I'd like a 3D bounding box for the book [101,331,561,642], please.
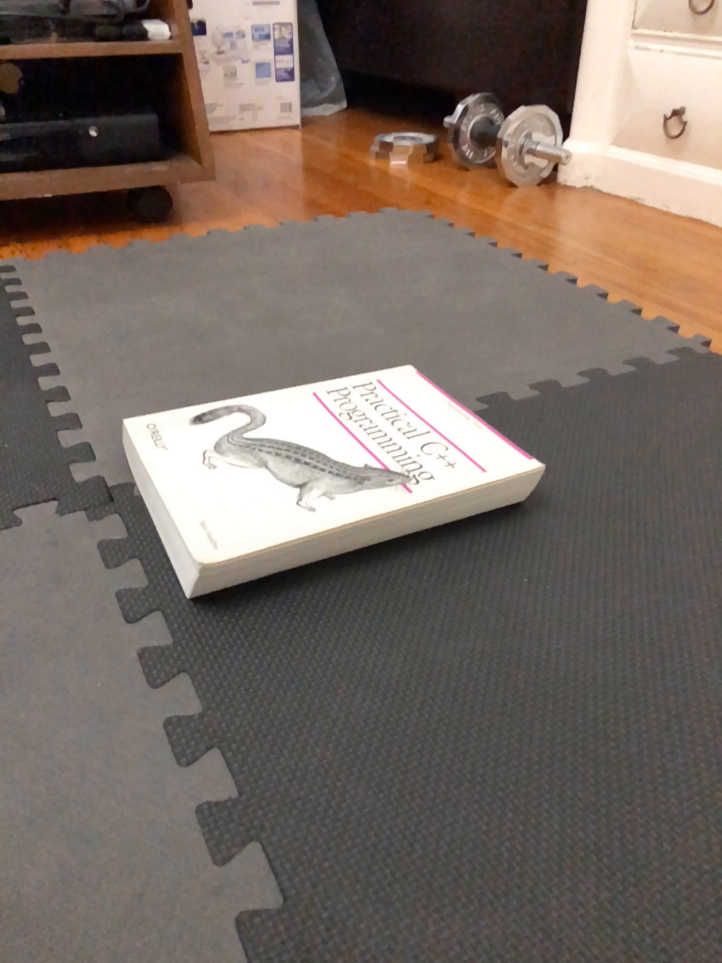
[{"bbox_3d":[-0.028,-0.016,0.550,0.250,0.050,0.201,-15,42,-22],"label":"book"}]
